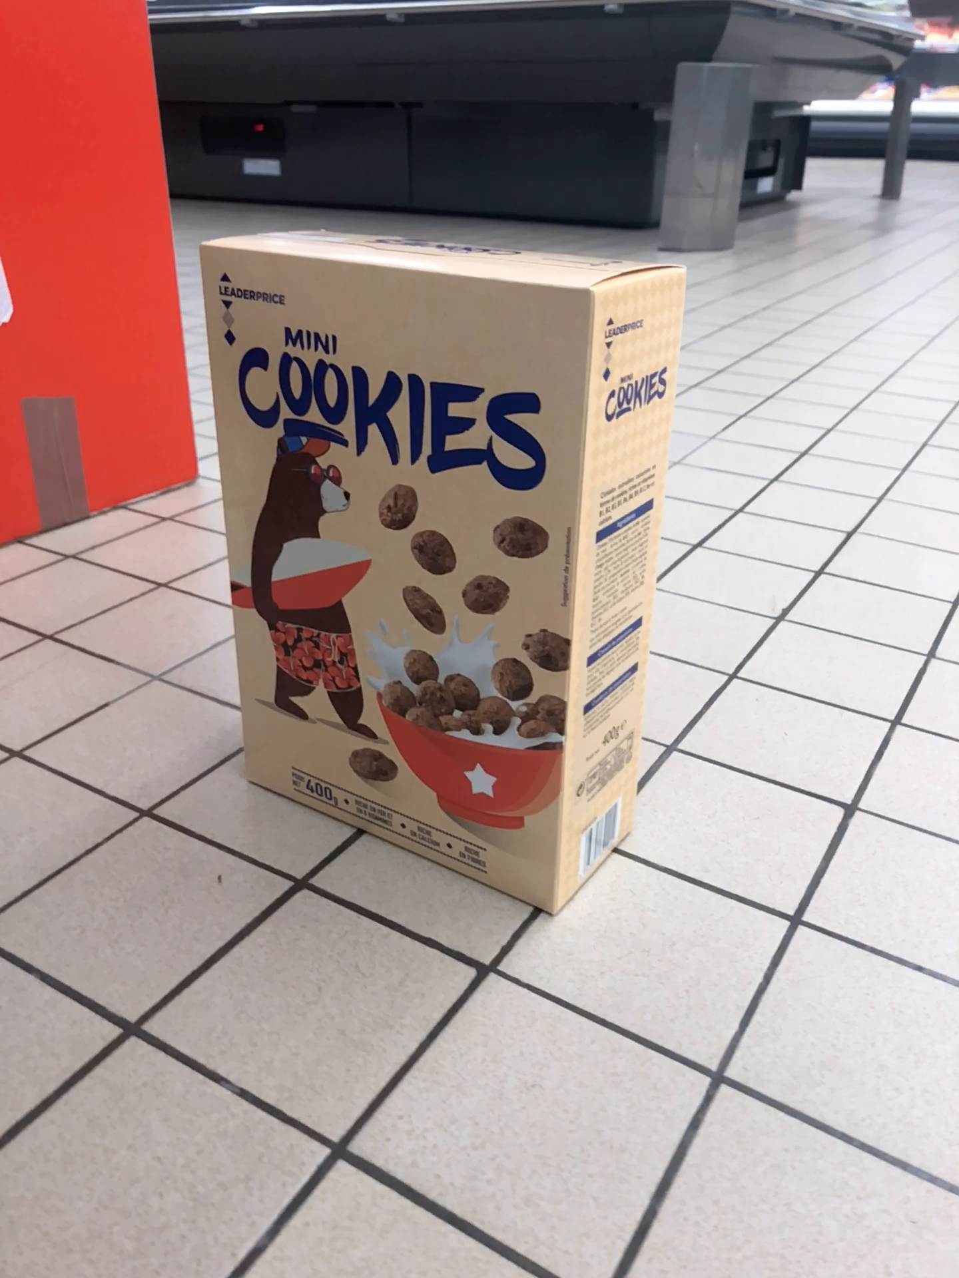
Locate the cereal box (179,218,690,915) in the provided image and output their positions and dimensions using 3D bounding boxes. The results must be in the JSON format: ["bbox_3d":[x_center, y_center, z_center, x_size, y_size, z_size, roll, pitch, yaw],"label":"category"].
[{"bbox_3d":[-0.023,-0.040,0.495,0.200,0.278,0.080,16,30,29],"label":"cereal box"}]
